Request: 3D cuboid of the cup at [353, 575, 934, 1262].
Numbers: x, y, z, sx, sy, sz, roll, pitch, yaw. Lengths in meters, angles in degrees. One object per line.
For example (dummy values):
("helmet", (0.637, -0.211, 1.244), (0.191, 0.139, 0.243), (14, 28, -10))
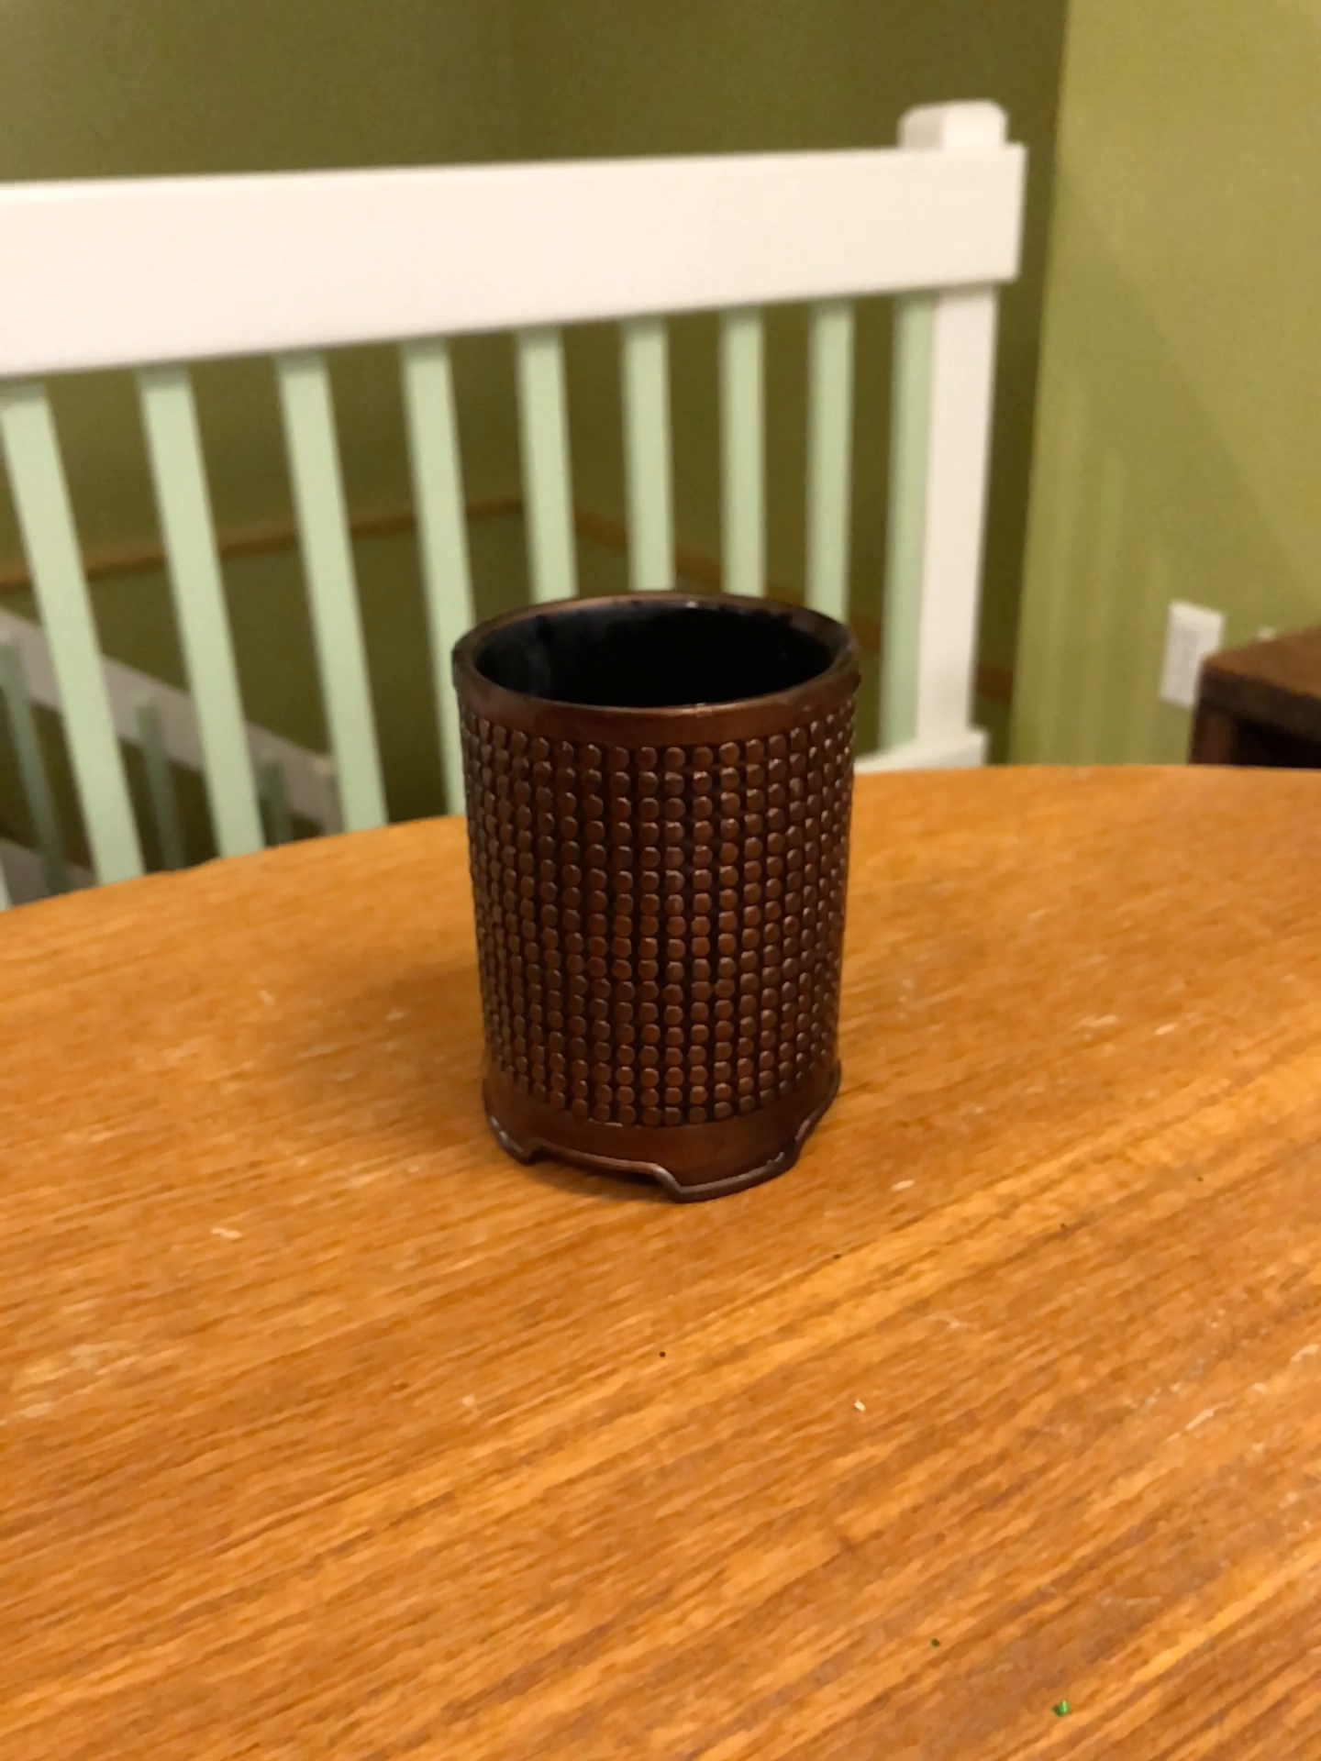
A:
("cup", (-0.001, 0.001, 0.289), (0.078, 0.097, 0.073), (-1, 26, 1))
